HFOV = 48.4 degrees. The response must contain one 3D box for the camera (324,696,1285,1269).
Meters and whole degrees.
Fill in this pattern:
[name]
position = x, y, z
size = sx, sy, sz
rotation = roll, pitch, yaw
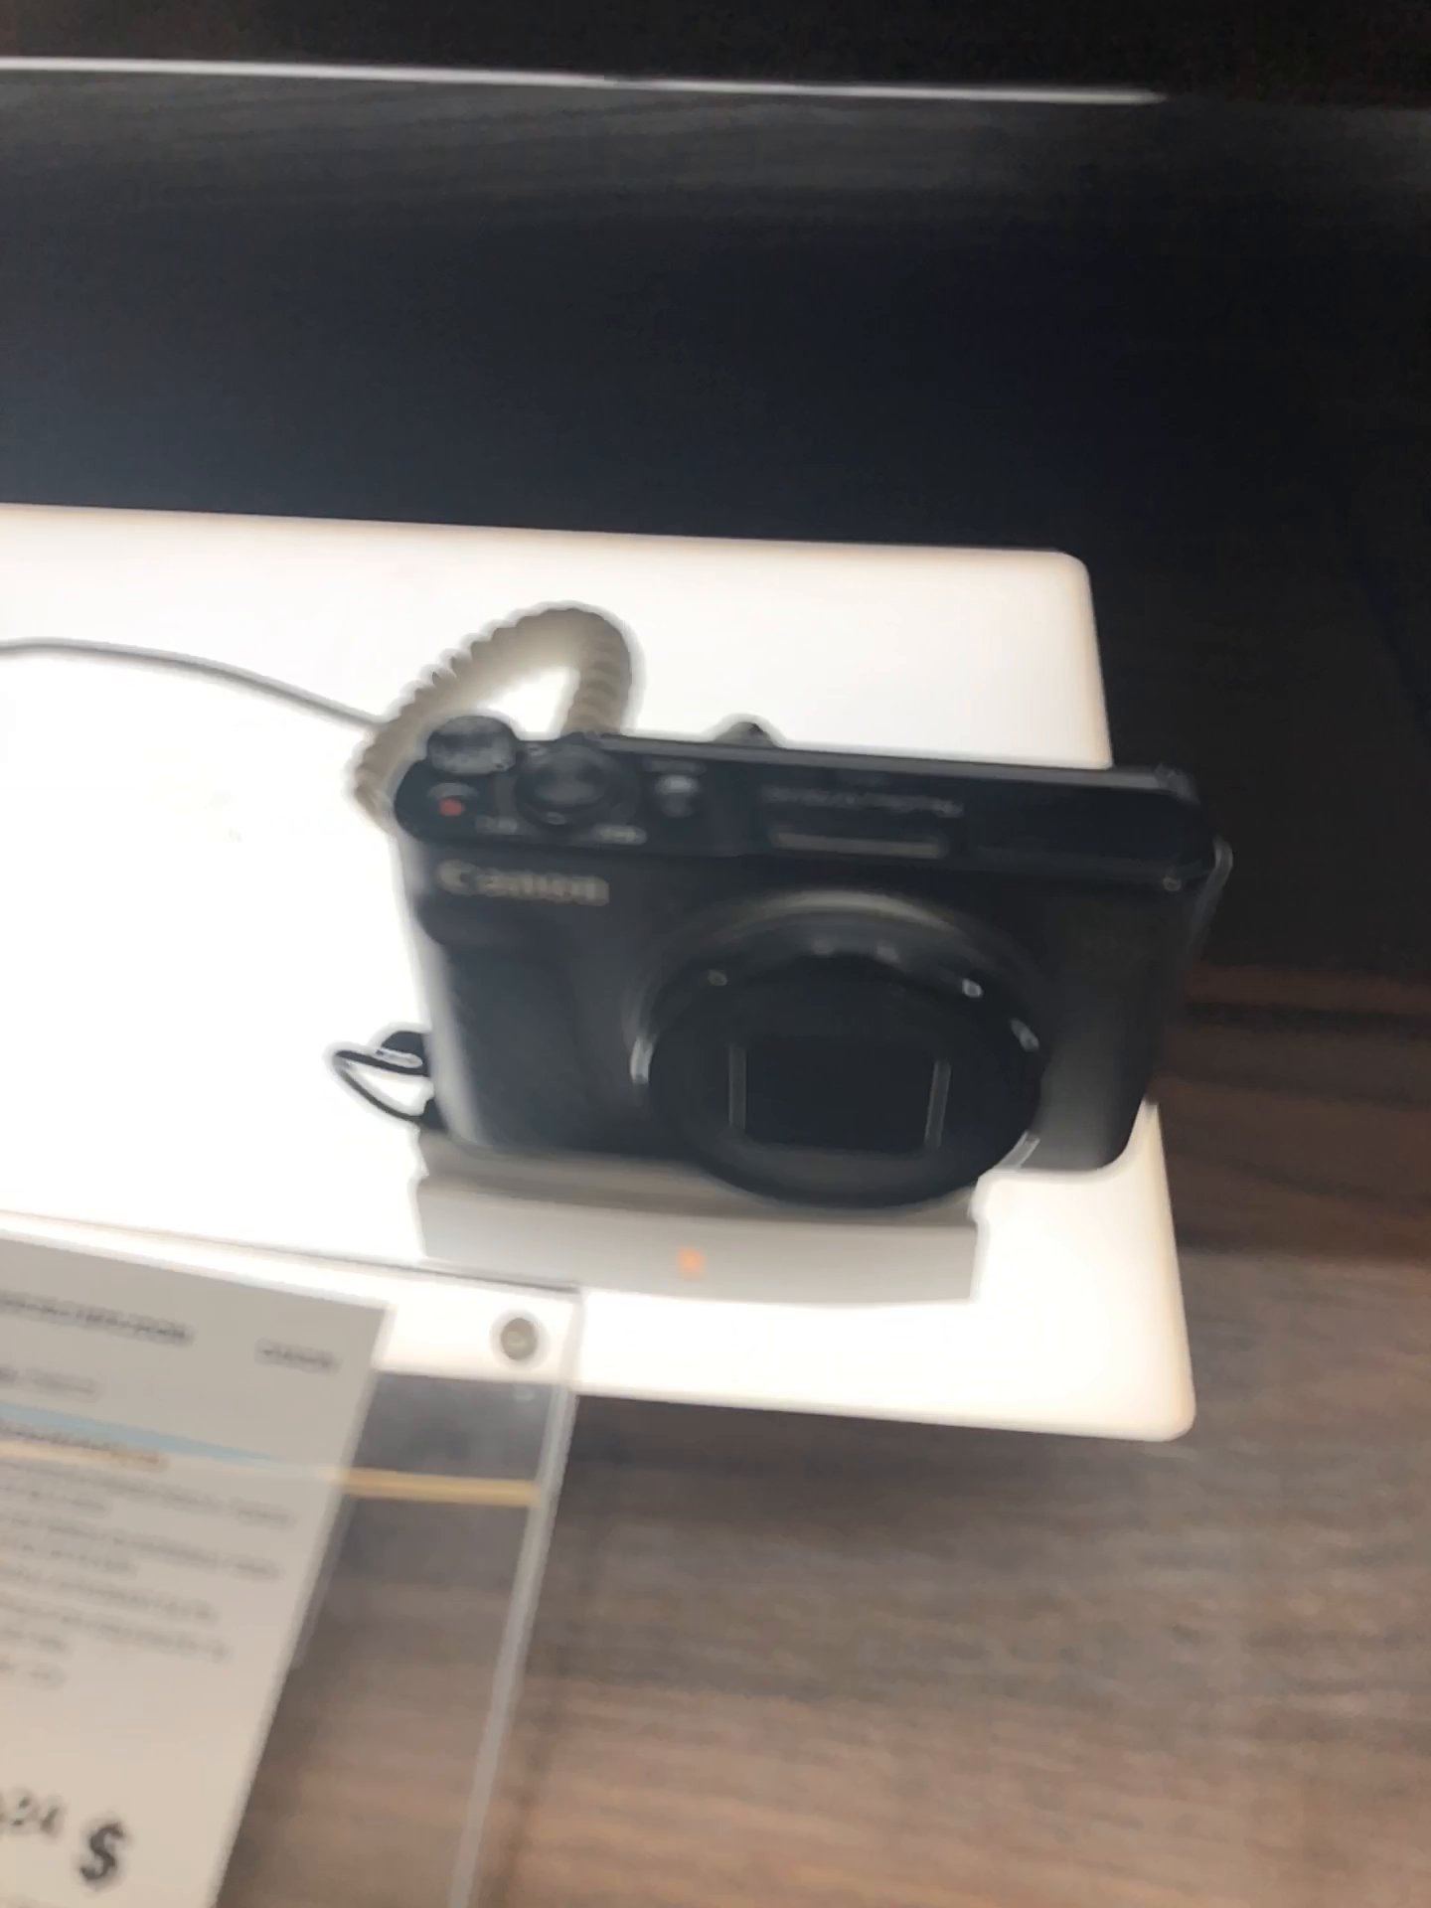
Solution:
[camera]
position = 0.011, 0.005, 0.226
size = 0.114, 0.070, 0.034
rotation = 4, 45, 4
